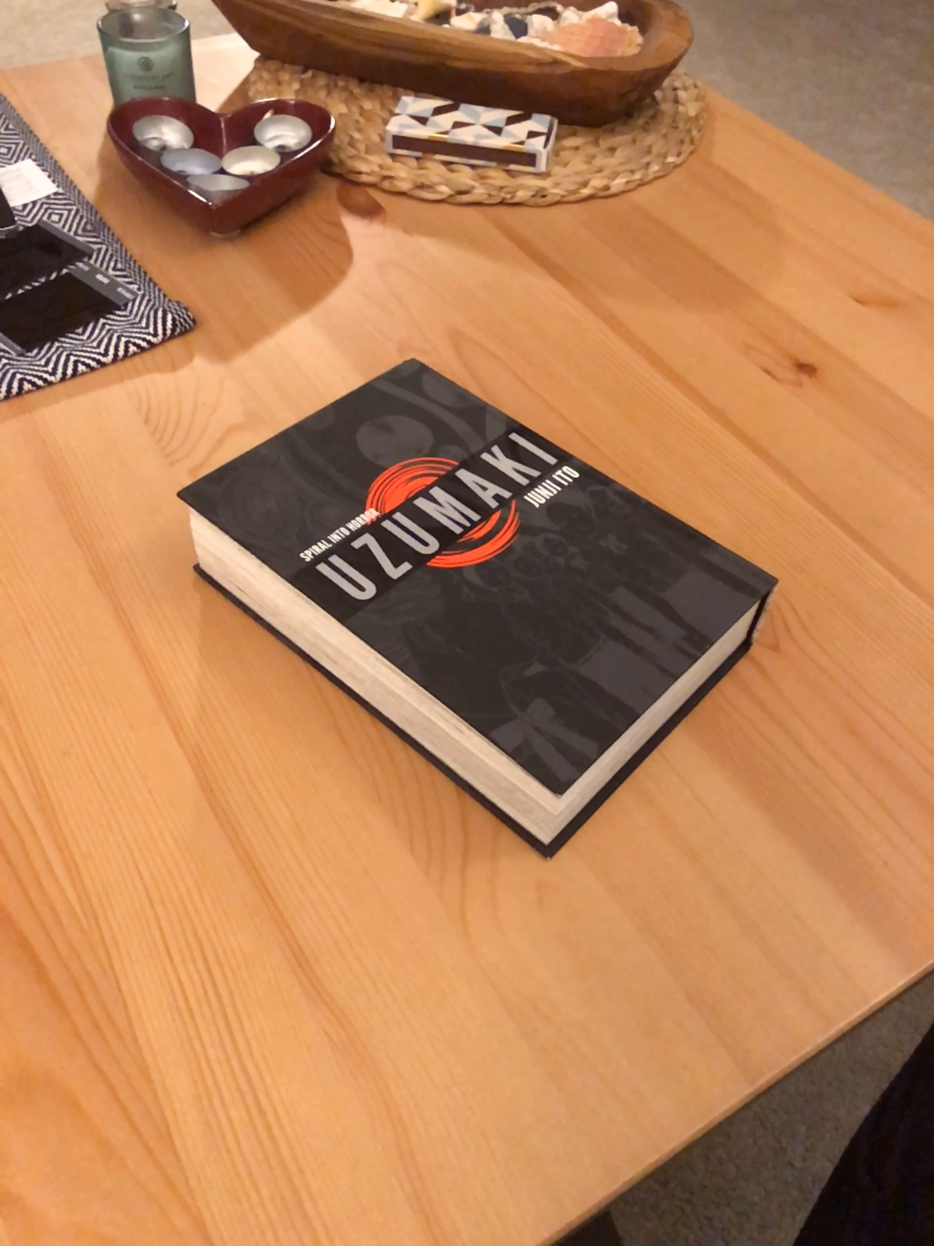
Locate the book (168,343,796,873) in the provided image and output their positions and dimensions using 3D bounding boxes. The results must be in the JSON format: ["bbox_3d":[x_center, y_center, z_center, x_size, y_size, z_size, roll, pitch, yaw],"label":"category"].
[{"bbox_3d":[0.005,-0.023,0.437,0.204,0.048,0.157,37,55,23],"label":"book"}]
